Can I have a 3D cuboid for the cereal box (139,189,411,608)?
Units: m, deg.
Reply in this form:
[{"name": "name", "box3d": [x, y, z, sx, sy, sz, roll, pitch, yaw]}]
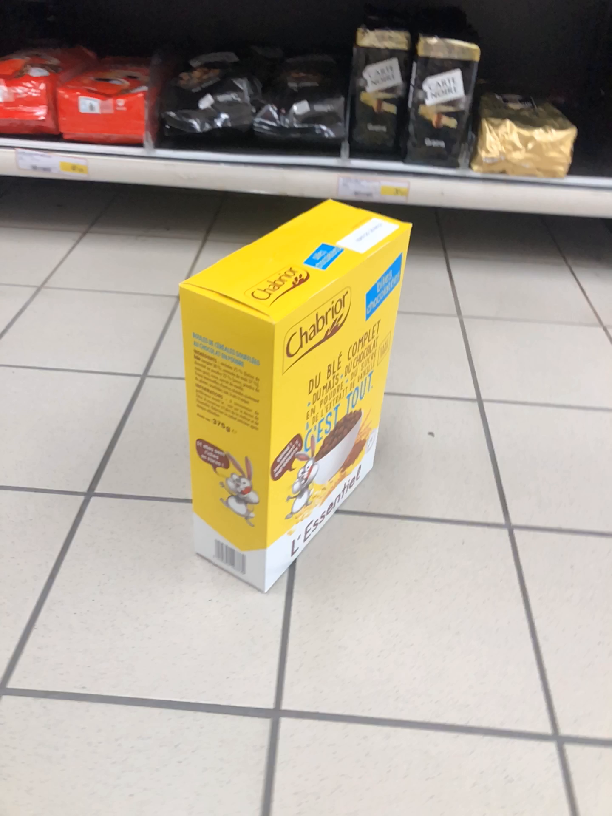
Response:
[{"name": "cereal box", "box3d": [-0.017, -0.011, 0.554, 0.090, 0.268, 0.201, 23, 41, 25]}]
